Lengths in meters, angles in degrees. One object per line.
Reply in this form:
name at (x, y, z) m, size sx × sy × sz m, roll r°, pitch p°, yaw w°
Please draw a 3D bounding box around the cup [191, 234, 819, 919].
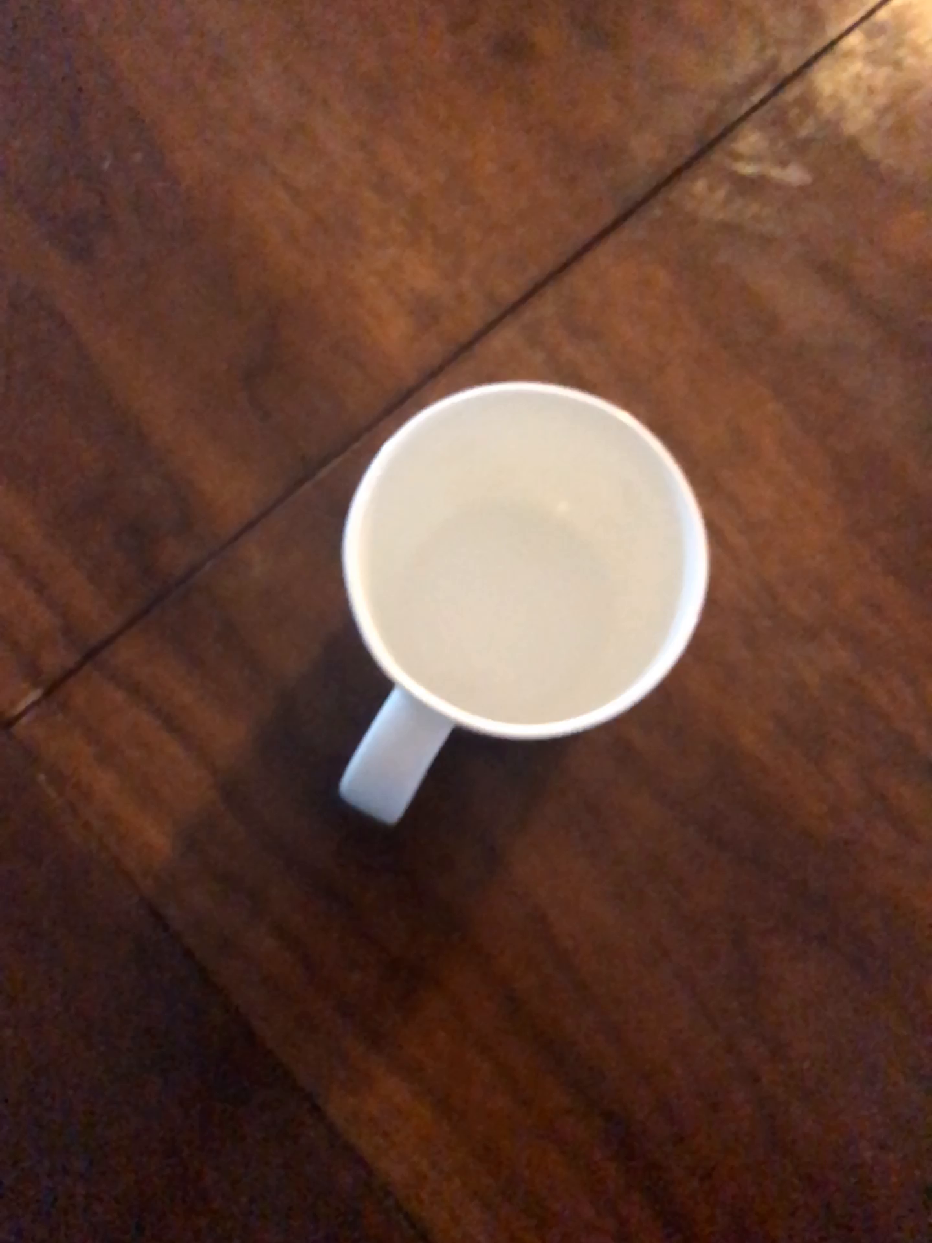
cup at (0.010, -0.007, 0.283) m, size 0.090 × 0.090 × 0.130 m, roll 30°, pitch 83°, yaw 3°
